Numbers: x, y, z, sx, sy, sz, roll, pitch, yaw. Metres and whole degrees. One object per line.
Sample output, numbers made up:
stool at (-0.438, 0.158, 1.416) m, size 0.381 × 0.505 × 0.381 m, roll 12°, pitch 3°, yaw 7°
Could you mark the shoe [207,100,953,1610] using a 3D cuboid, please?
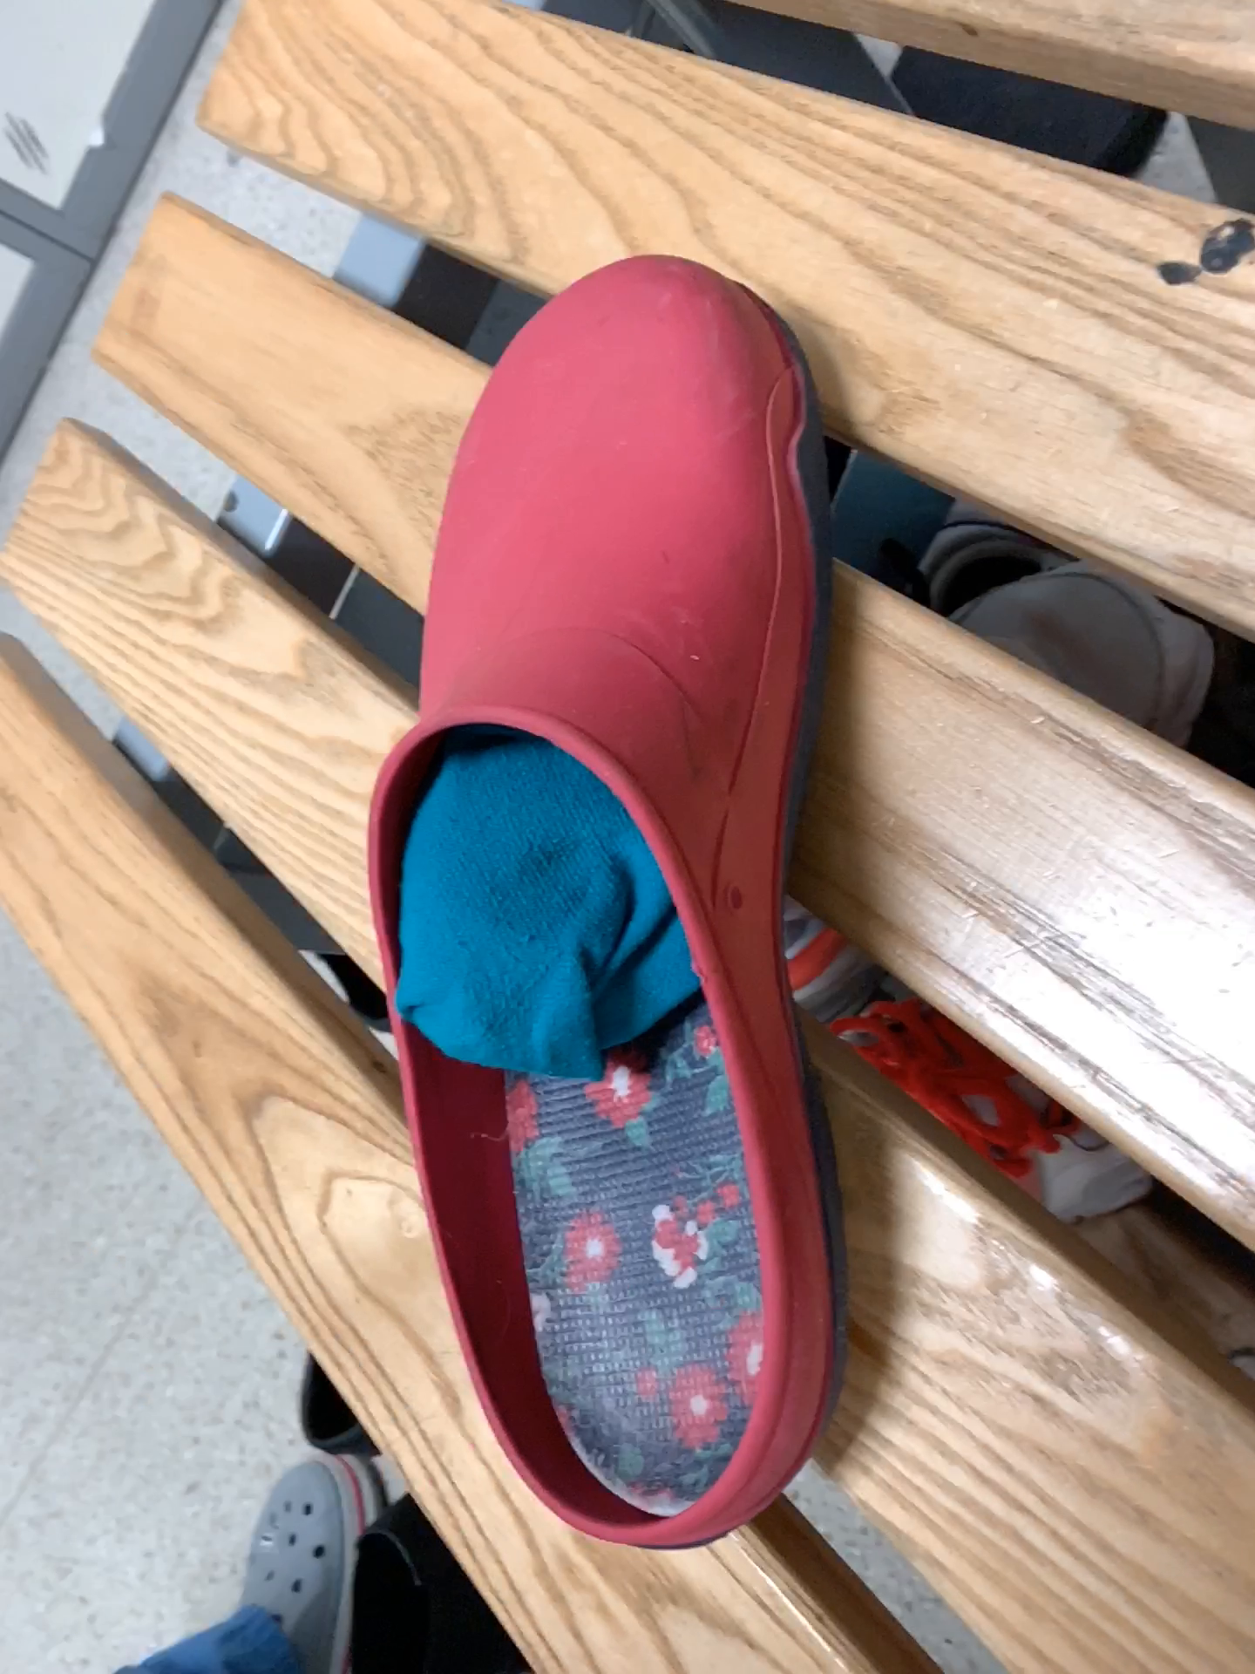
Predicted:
shoe at (-0.017, 0.002, 0.258) m, size 0.106 × 0.076 × 0.239 m, roll -14°, pitch 74°, yaw 33°
